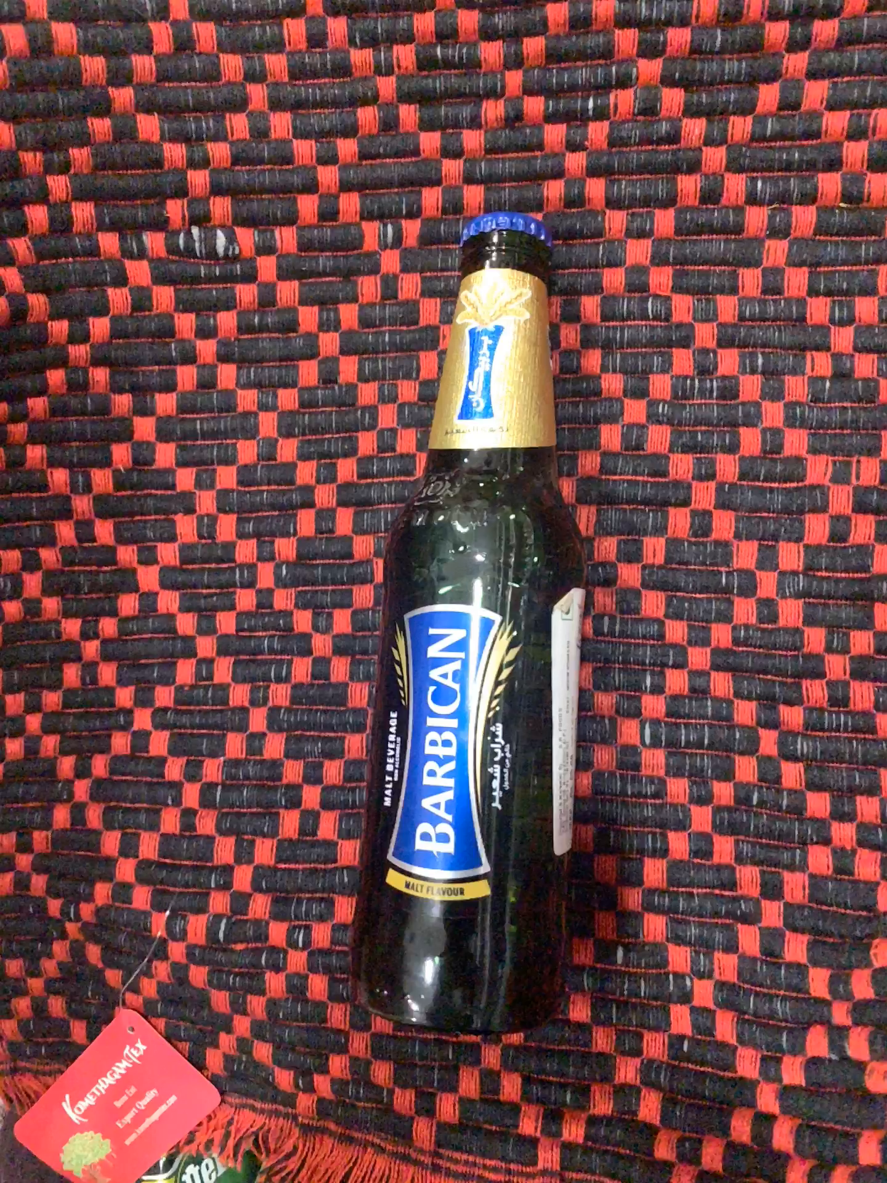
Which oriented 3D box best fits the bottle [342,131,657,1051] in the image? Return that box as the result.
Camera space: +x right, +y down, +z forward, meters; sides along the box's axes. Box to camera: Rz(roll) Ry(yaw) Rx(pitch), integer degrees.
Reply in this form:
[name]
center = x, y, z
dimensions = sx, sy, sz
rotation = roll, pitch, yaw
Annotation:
[bottle]
center = 0.019, -0.005, 0.240
dimensions = 0.060, 0.060, 0.210
rotation = 3, 81, 9
